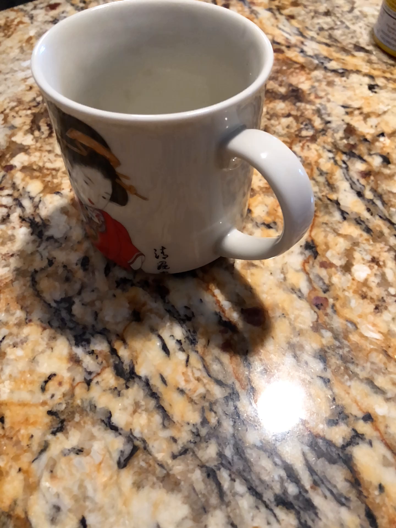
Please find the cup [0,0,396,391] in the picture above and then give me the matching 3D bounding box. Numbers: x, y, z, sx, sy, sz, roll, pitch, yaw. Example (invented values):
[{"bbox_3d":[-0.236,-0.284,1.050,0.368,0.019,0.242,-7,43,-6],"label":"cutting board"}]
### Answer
[{"bbox_3d":[-0.003,-0.038,0.177,0.120,0.090,0.090,35,60,24],"label":"cup"}]
